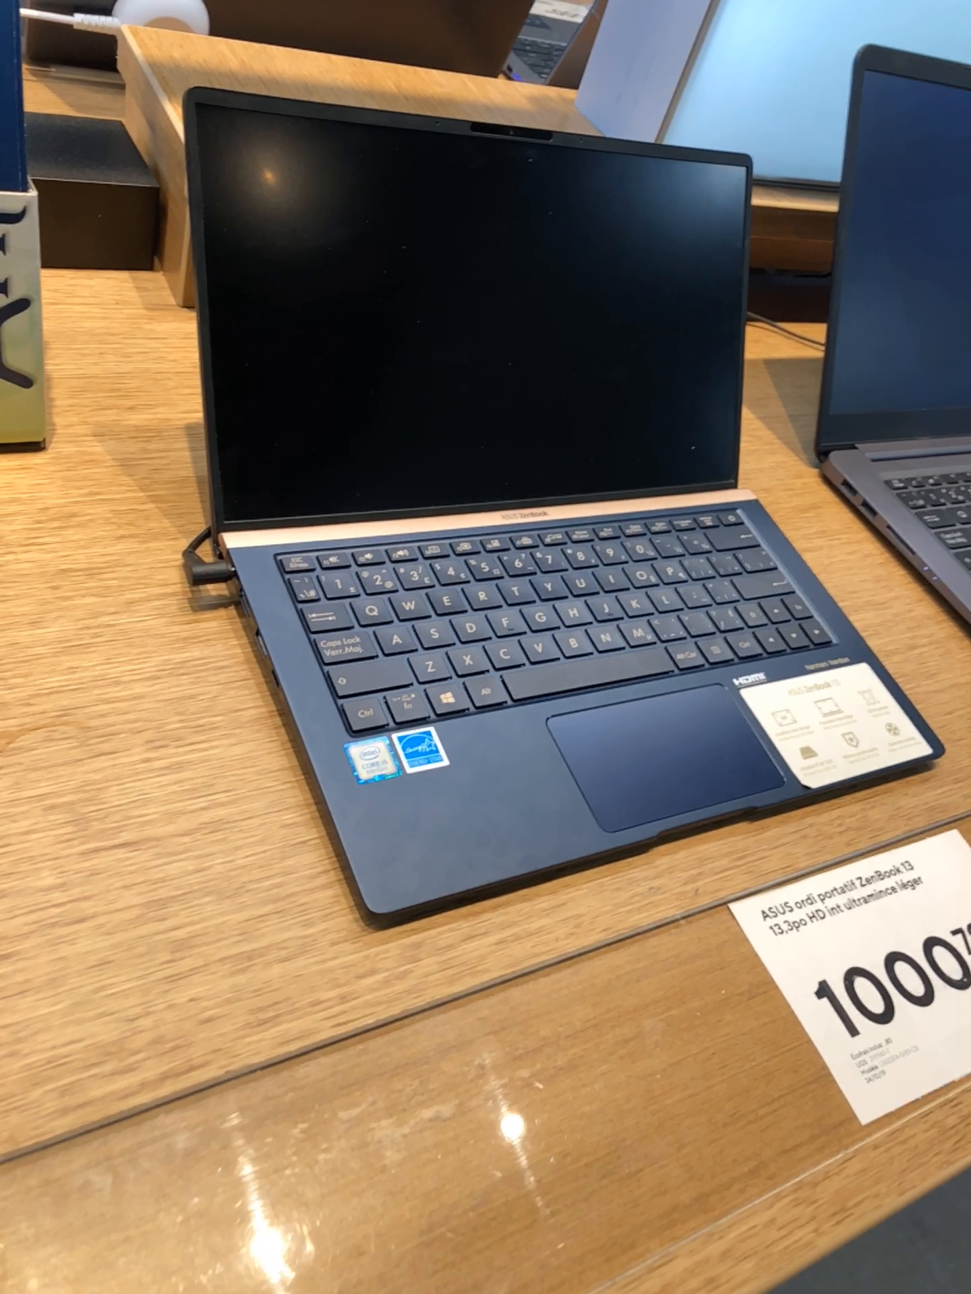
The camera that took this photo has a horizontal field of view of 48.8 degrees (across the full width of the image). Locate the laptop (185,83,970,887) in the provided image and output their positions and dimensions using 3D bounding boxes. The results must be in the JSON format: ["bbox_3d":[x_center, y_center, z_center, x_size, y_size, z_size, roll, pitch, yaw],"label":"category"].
[{"bbox_3d":[0.046,-0.091,0.457,0.276,0.130,0.276,-9,55,-28],"label":"laptop"}]
